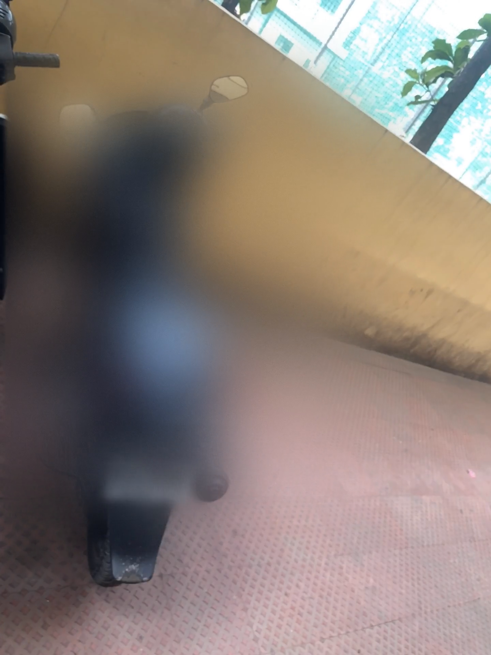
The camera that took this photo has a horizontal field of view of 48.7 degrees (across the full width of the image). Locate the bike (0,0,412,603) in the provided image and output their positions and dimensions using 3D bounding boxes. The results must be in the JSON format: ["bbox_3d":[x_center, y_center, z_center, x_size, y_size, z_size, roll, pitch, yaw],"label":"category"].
[{"bbox_3d":[-0.492,-0.196,1.764,0.828,1.057,1.608,17,33,-36],"label":"bike"}]
